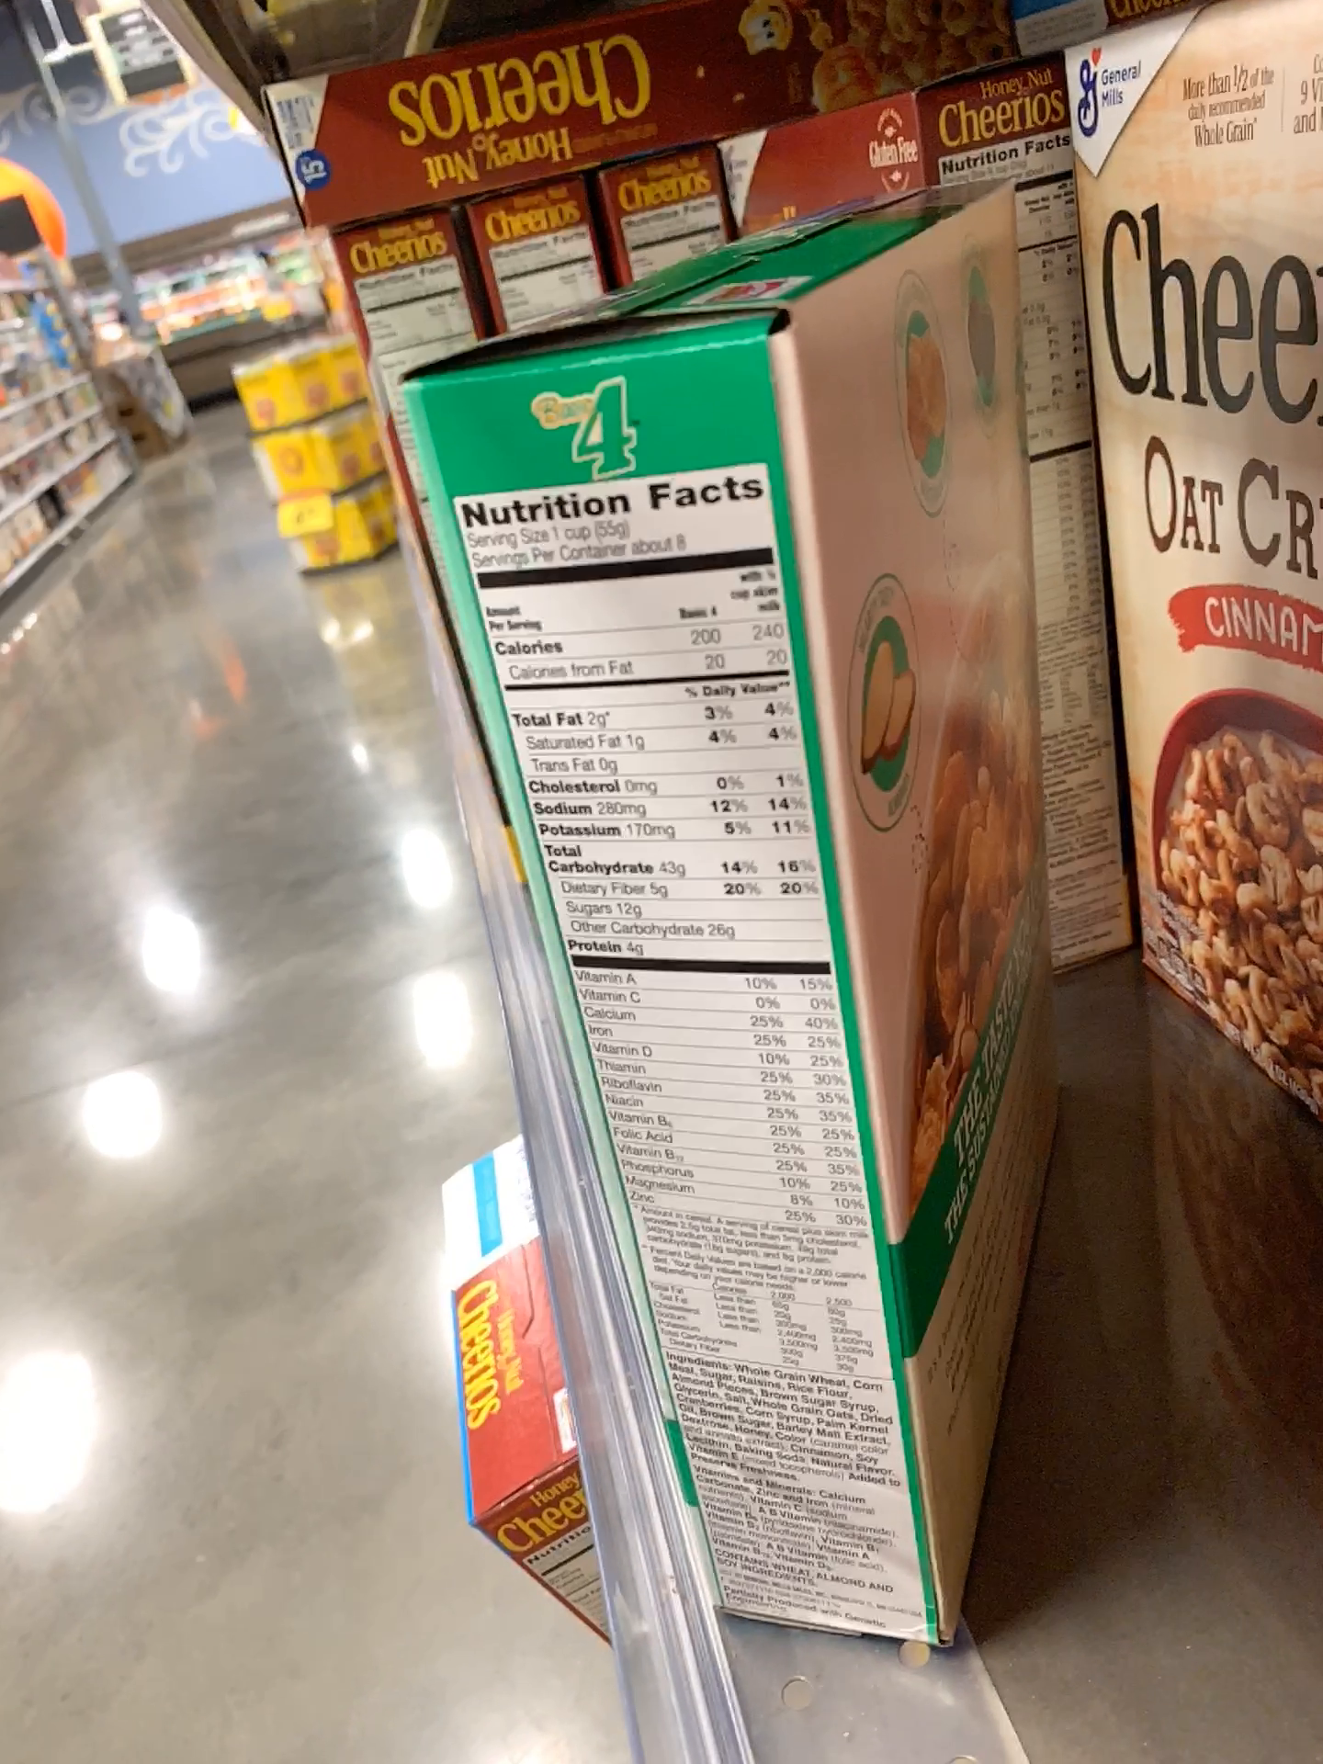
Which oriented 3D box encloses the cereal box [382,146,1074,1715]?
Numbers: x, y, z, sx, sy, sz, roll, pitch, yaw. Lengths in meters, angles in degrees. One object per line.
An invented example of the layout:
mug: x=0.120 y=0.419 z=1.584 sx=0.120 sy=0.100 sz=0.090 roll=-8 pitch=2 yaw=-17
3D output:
cereal box: x=0.047 y=-0.002 z=0.296 sx=0.050 sy=0.259 sz=0.201 roll=1 pitch=30 yaw=23
